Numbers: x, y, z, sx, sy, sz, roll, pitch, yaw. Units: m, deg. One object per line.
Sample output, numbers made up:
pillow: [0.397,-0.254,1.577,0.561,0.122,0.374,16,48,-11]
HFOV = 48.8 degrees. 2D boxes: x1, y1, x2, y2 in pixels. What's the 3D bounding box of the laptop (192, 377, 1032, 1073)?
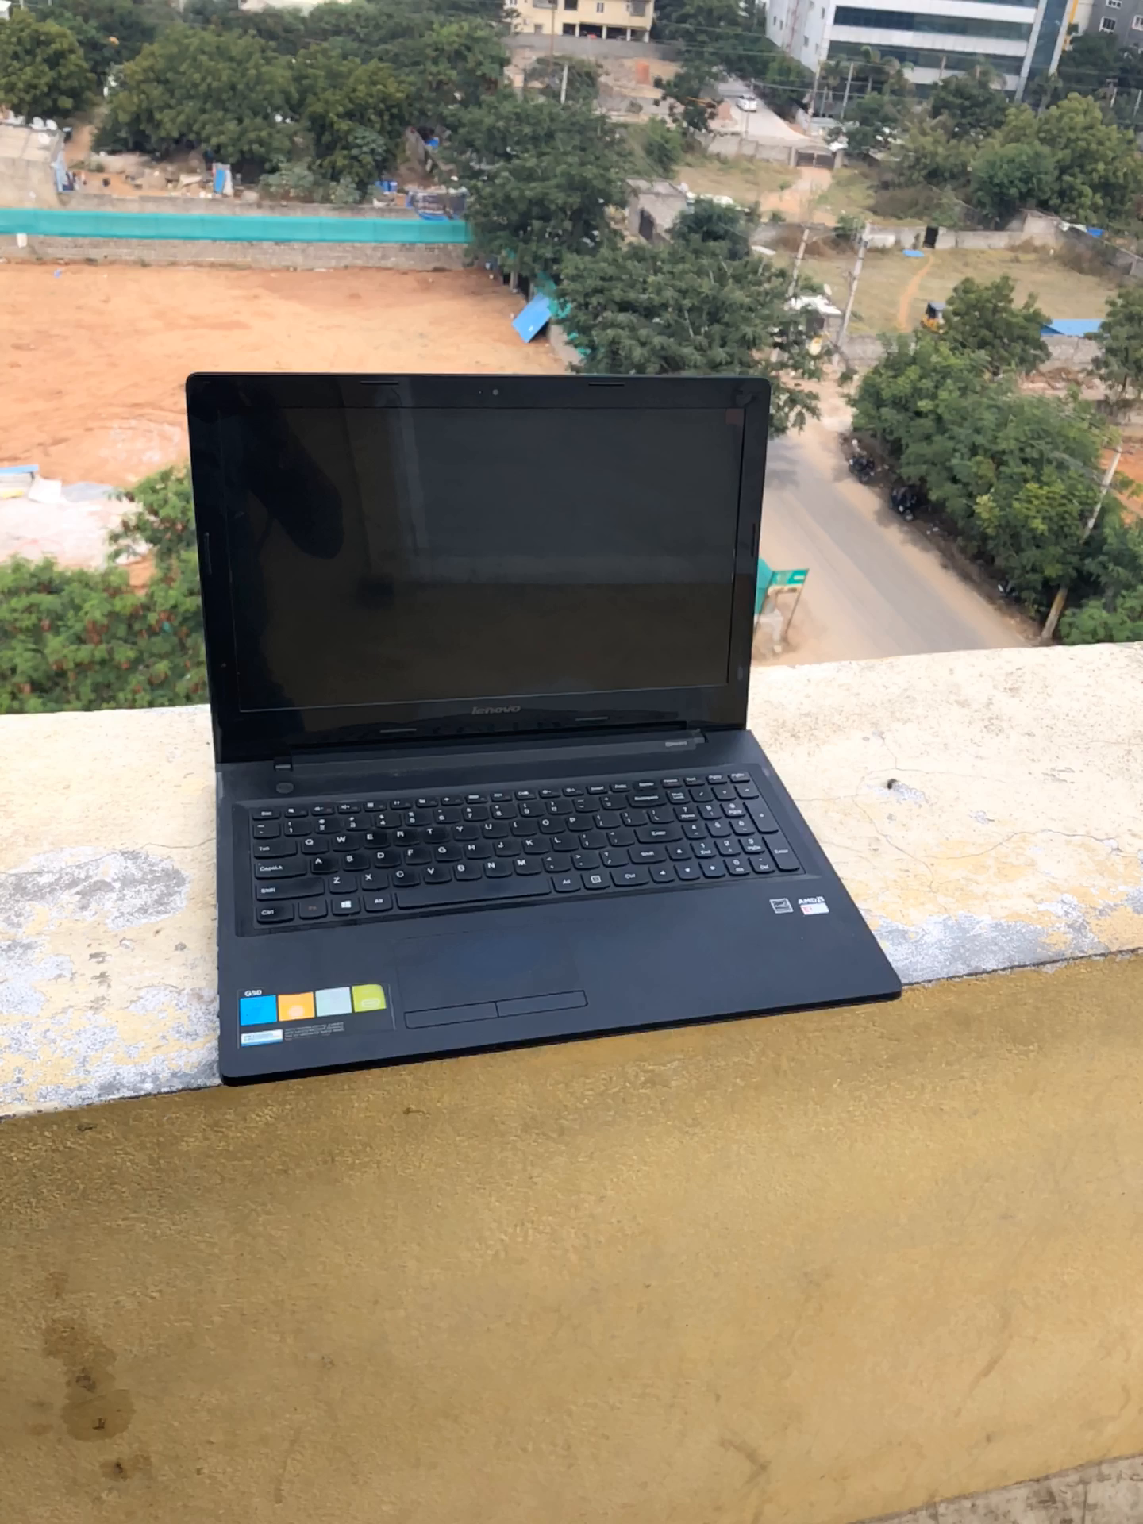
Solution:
laptop: [-0.014,-0.047,0.728,0.366,0.229,0.331,-4,37,-15]
